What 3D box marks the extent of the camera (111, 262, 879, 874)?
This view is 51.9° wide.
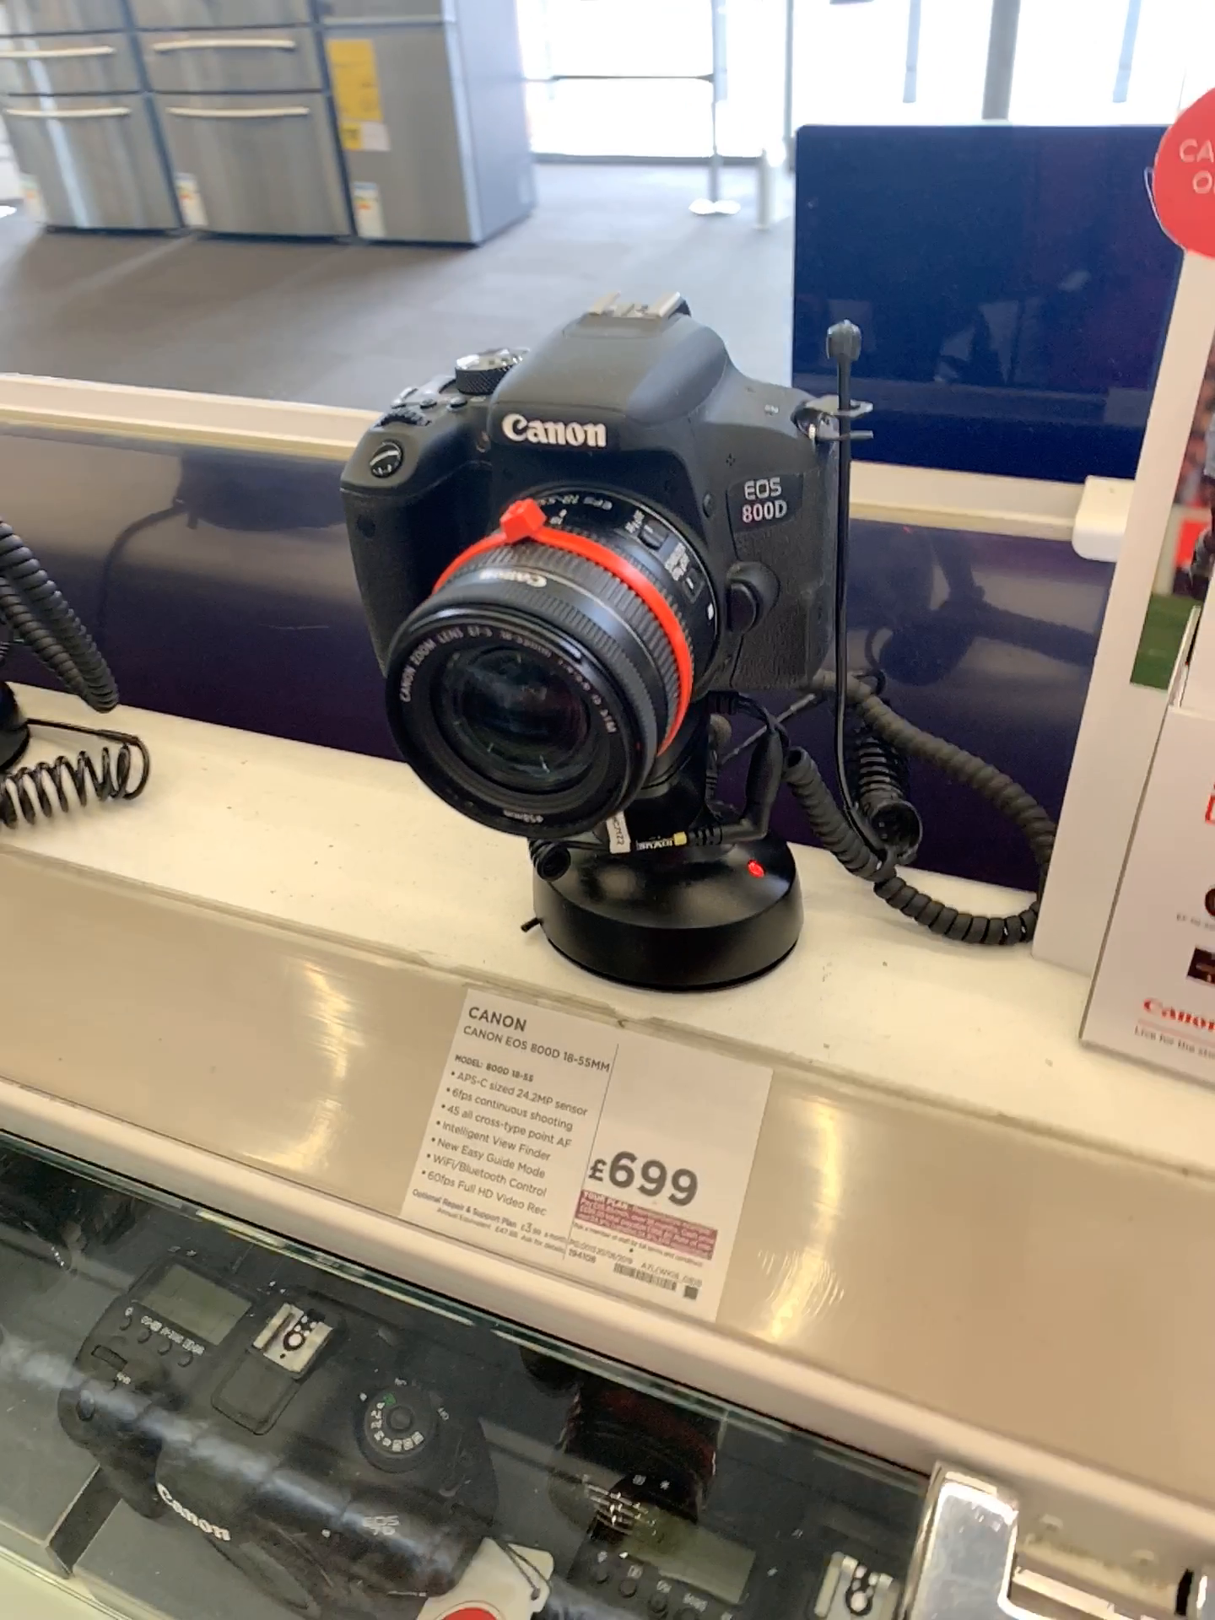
[{"bbox_3d":[-0.013,-0.073,0.320,0.140,0.089,0.141,8,40,16],"label":"camera"}]
